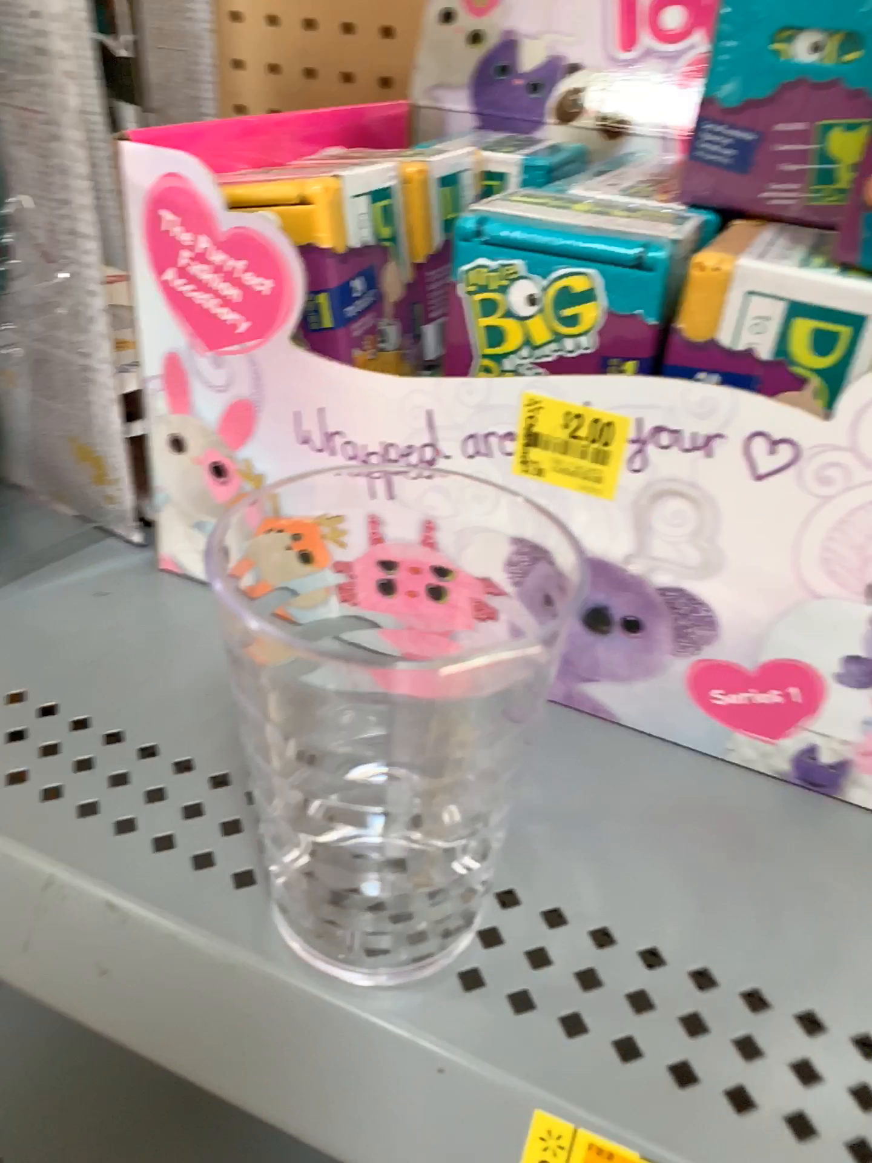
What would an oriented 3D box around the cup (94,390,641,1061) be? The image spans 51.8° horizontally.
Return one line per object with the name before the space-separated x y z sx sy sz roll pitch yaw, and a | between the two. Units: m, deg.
cup | -0.012 0.028 0.198 0.079 0.107 0.070 17 35 17
